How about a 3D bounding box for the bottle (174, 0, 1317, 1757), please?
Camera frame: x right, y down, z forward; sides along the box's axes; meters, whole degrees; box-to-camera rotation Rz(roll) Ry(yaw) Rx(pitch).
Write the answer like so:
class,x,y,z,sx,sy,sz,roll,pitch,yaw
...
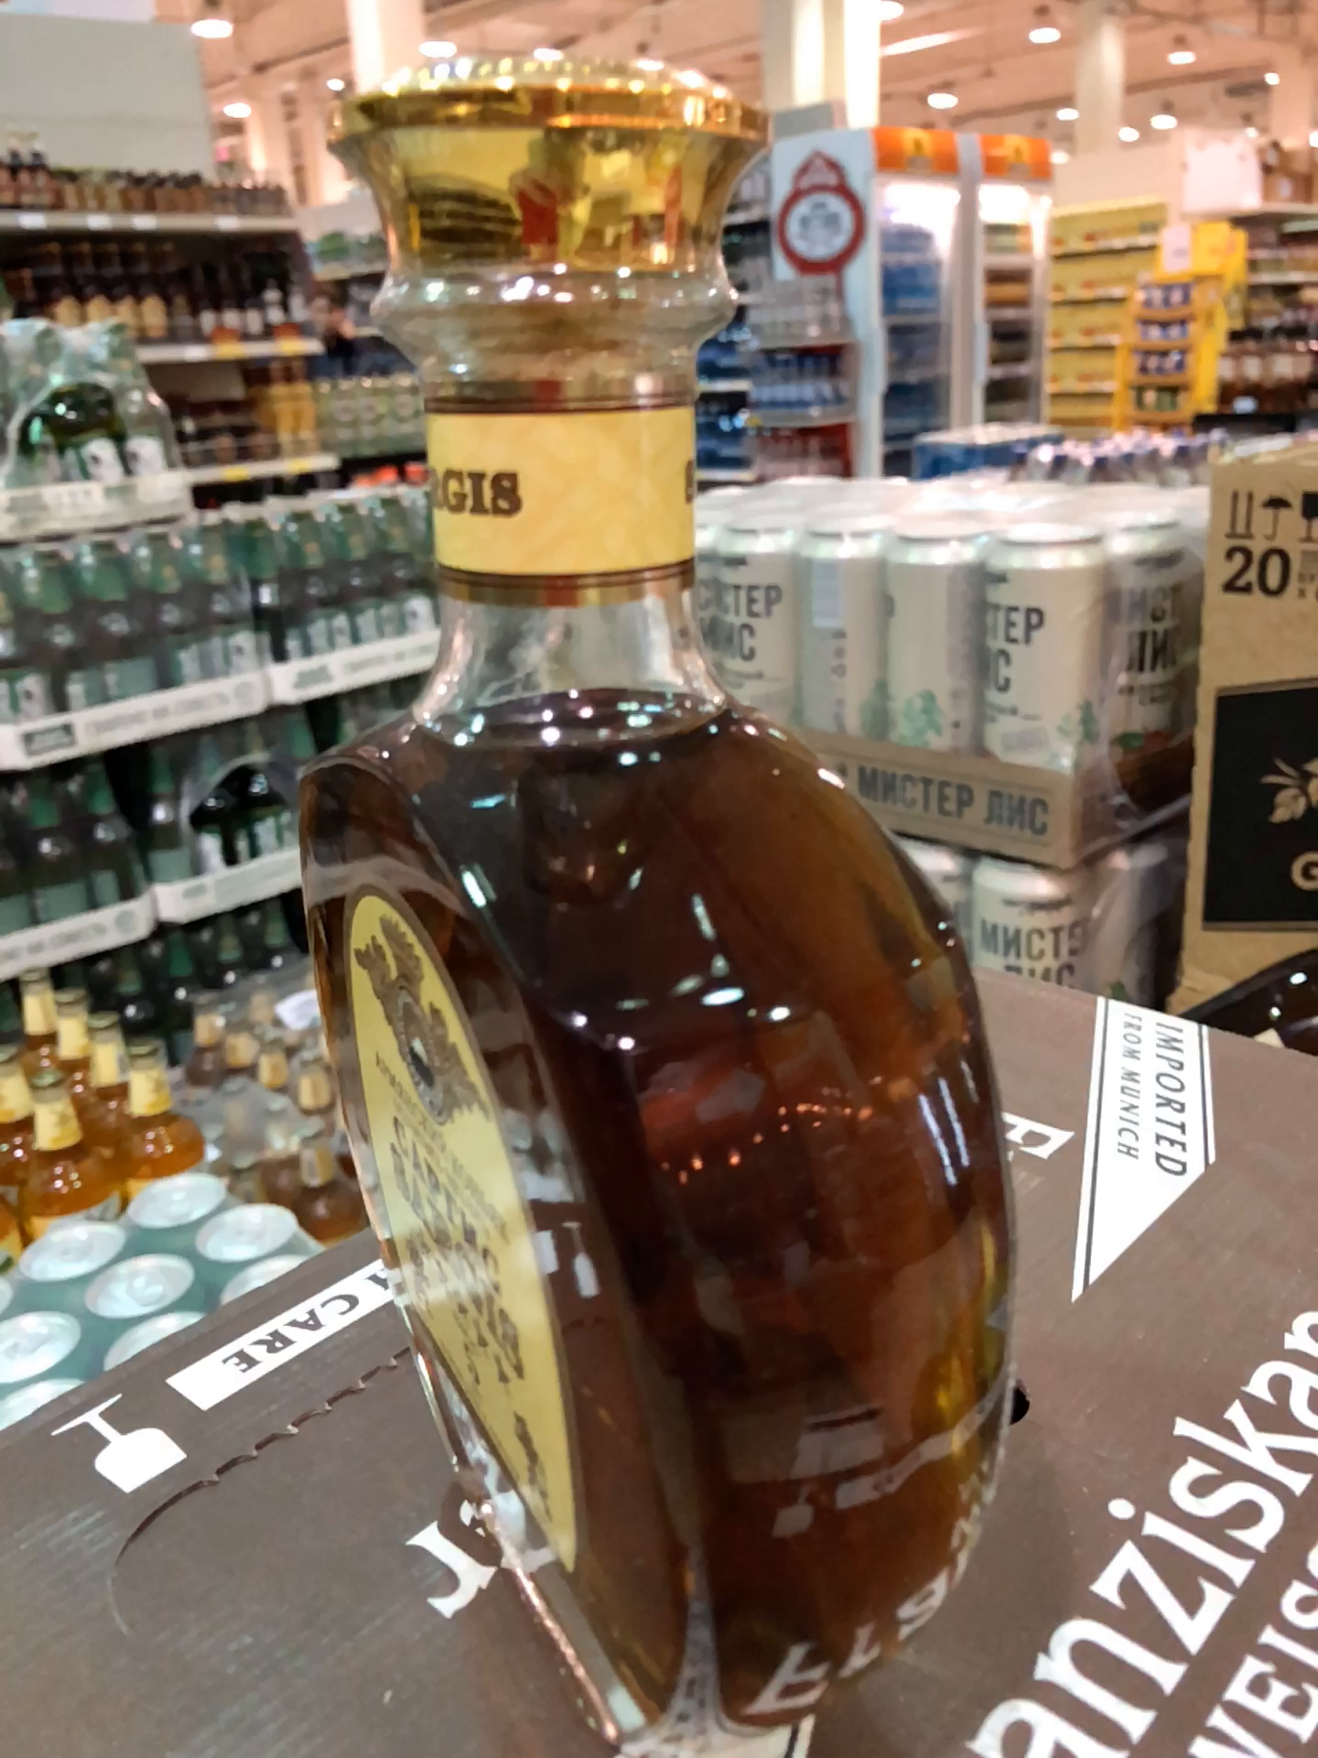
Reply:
class,x,y,z,sx,sy,sz,roll,pitch,yaw
bottle,0.000,0.013,0.202,0.070,0.209,0.140,-13,22,-26
